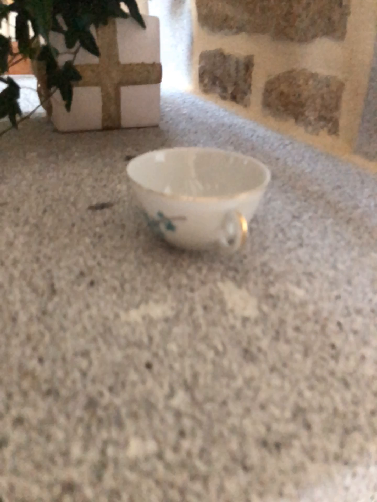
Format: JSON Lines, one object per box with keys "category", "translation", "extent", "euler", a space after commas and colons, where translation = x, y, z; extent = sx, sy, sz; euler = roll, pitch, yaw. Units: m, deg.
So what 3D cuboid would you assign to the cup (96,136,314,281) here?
{"category": "cup", "translation": [0.005, -0.037, 0.264], "extent": [0.090, 0.040, 0.110], "euler": [-16, 35, -29]}
